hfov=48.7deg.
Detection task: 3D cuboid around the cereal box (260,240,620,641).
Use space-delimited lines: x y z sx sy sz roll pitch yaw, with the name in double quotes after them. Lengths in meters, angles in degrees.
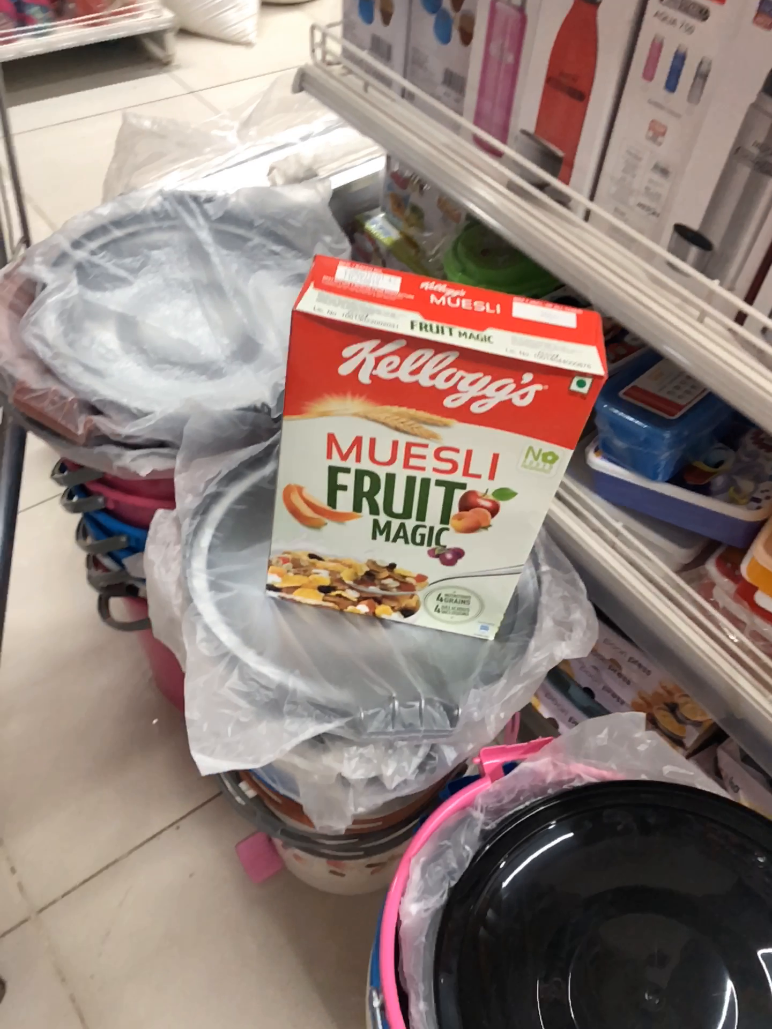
0.022 -0.036 0.582 0.190 0.249 0.070 12 44 0 "cereal box"
